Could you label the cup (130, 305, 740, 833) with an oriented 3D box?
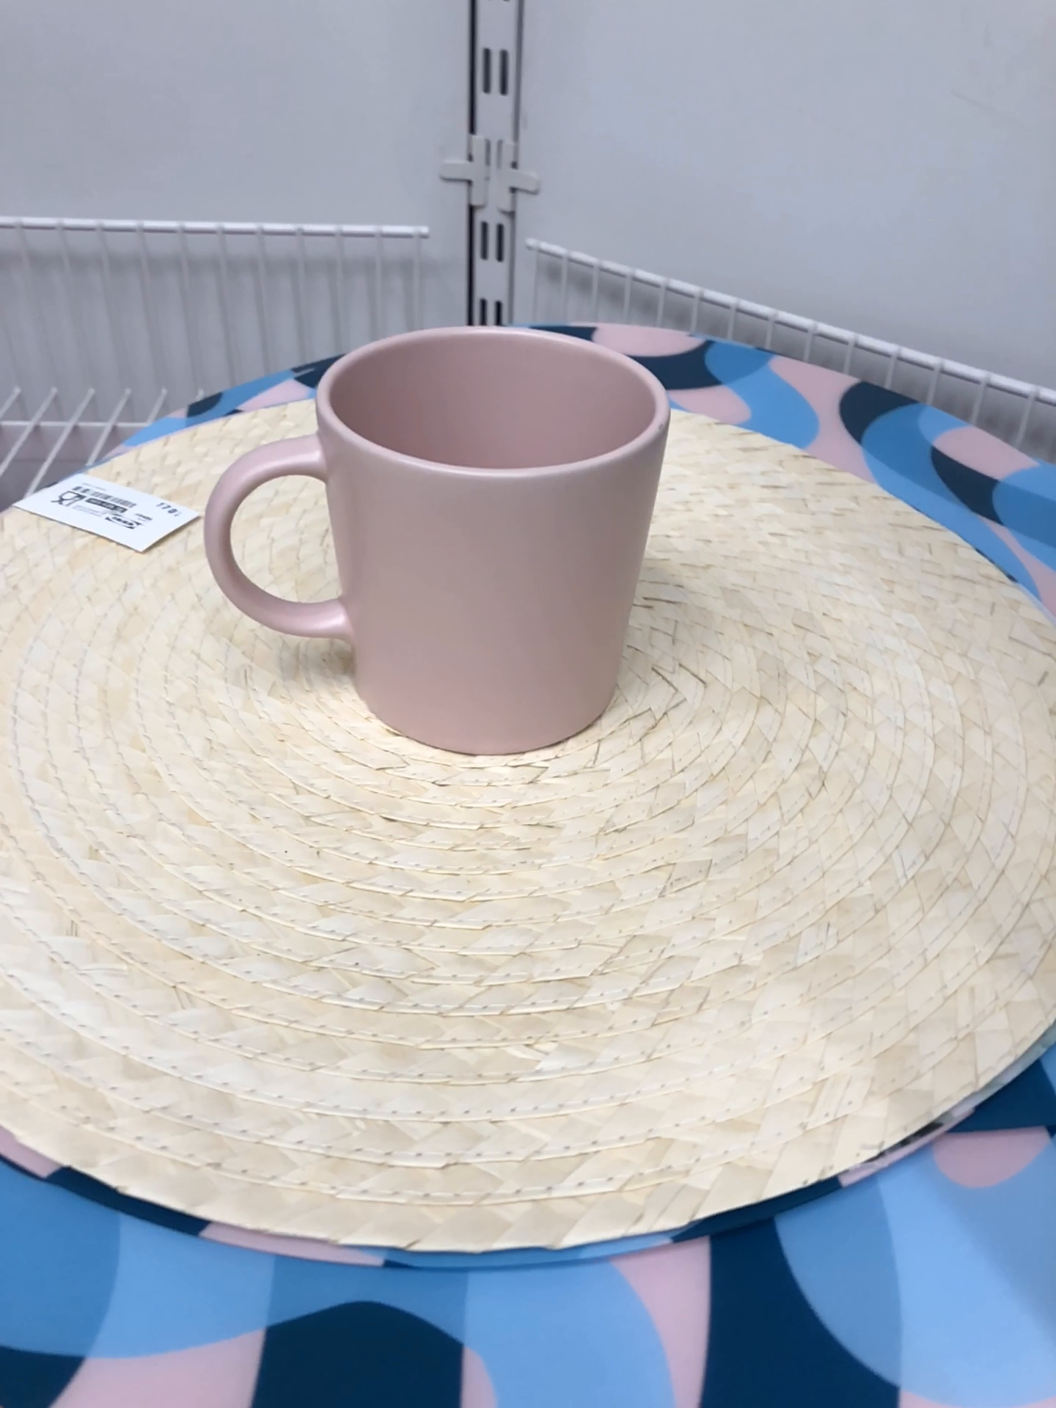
[{"bbox_3d":[-0.030,-0.044,0.322,0.130,0.090,0.100,-11,38,-18],"label":"cup"}]
